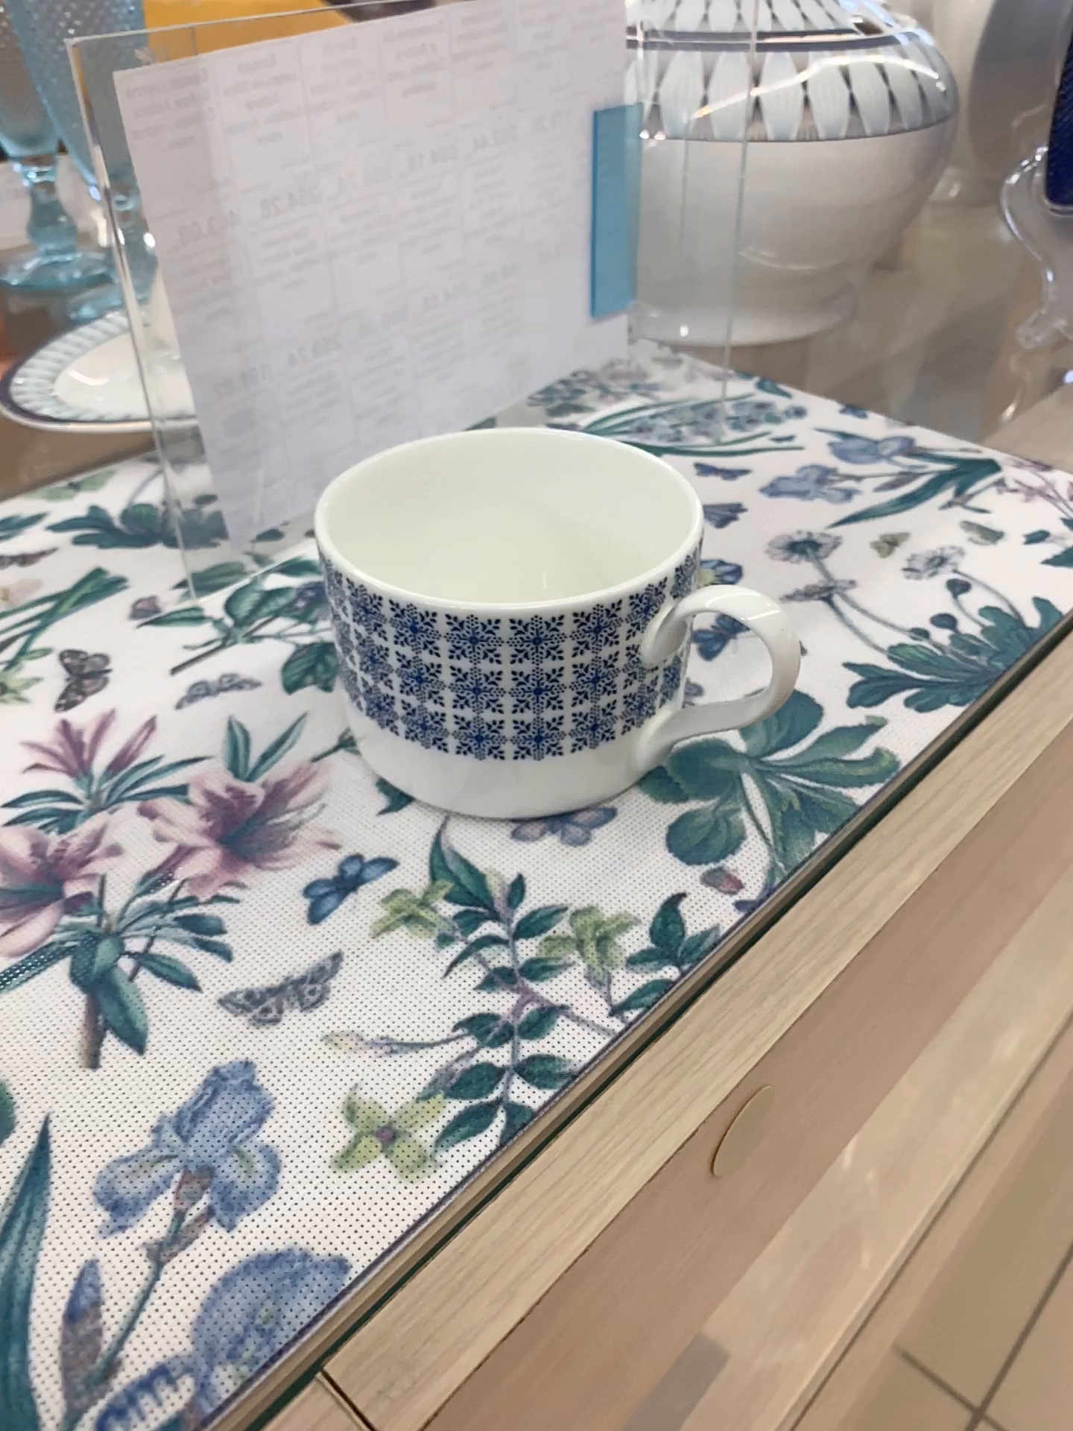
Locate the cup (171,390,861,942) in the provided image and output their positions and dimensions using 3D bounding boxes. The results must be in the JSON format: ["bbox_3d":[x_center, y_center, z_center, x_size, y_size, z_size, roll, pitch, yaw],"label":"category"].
[{"bbox_3d":[-0.002,-0.020,0.260,0.120,0.060,0.090,18,42,22],"label":"cup"}]
